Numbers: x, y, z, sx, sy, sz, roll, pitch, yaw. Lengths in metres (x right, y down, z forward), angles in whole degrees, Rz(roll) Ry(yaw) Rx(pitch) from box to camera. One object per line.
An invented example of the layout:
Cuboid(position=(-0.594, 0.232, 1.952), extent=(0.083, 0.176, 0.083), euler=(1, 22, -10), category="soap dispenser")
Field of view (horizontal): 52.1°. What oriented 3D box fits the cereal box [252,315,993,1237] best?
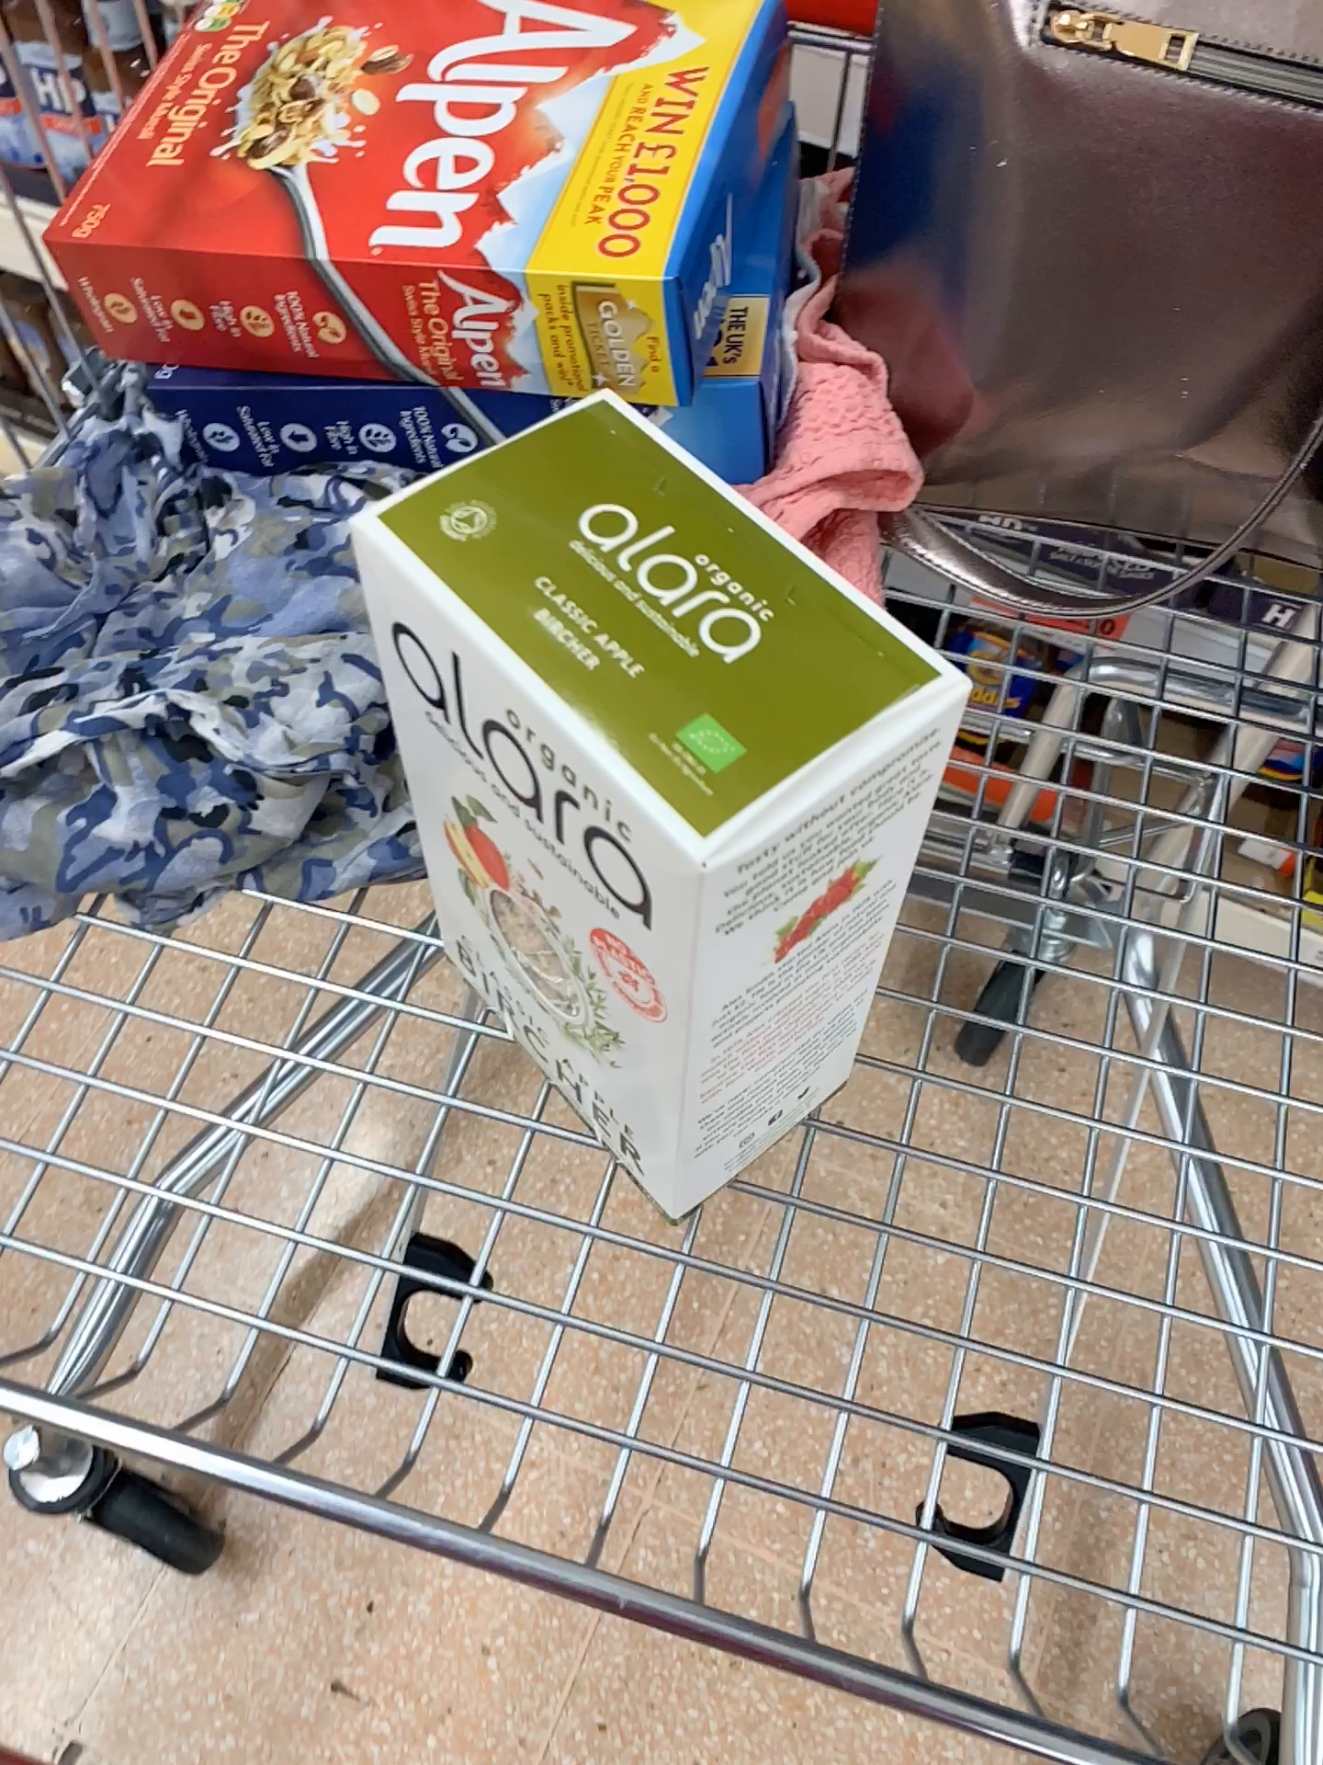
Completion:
Cuboid(position=(-0.012, -0.013, 0.328), extent=(0.080, 0.179, 0.120), euler=(-35, 65, -21), category="cereal box")
